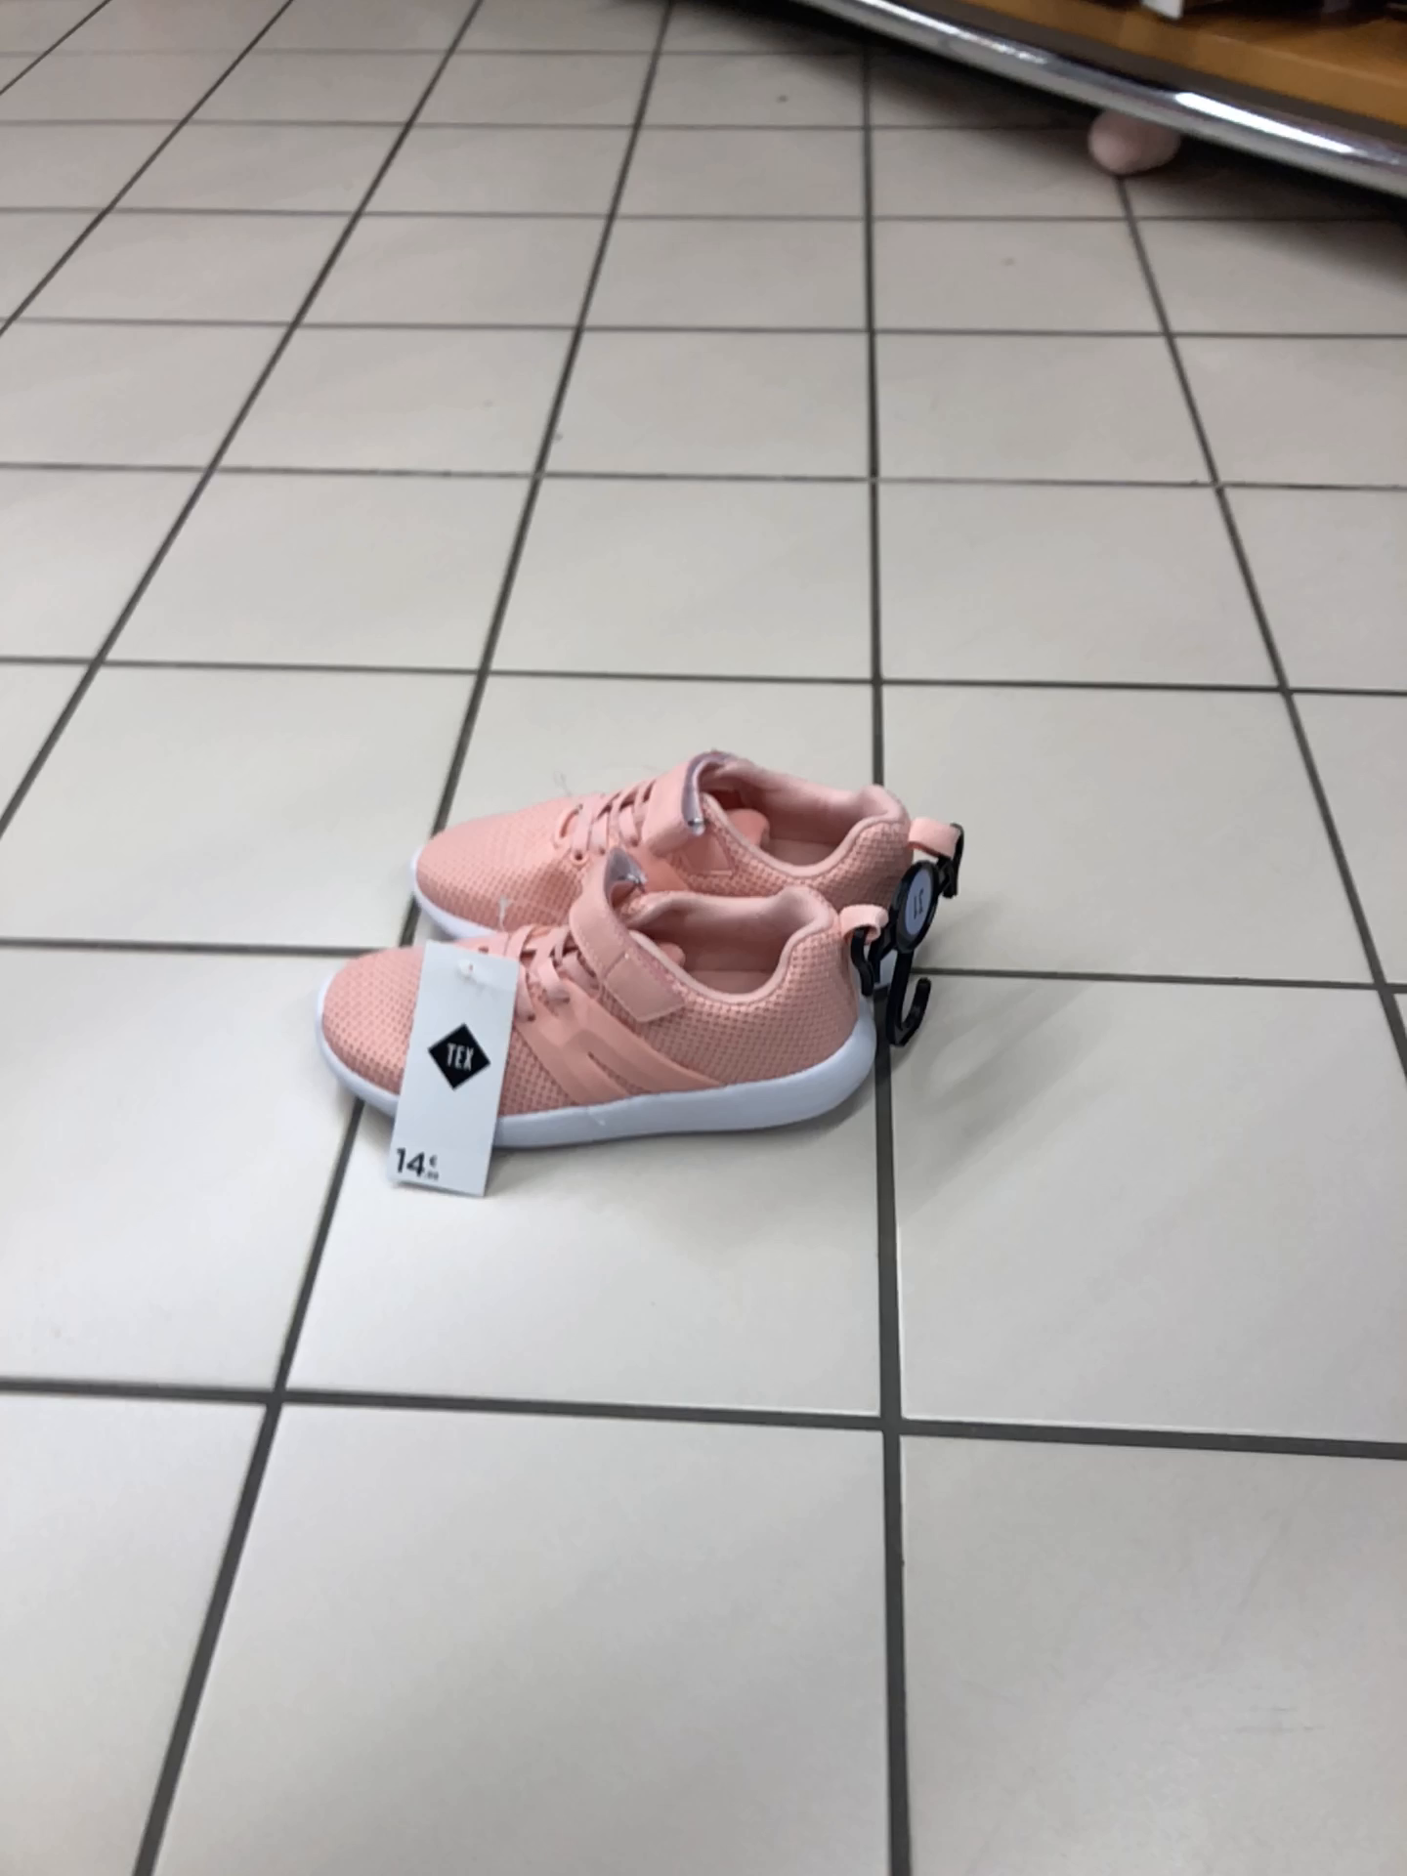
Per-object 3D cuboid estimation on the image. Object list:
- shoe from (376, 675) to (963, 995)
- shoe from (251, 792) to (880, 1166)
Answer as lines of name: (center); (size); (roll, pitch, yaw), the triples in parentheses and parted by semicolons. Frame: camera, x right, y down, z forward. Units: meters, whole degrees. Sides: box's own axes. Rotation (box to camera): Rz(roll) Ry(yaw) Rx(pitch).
shoe: (-0.010, -0.041, 0.613); (0.210, 0.092, 0.080); (2, 45, 3)
shoe: (-0.041, 0.014, 0.558); (0.203, 0.093, 0.083); (3, 45, 4)
